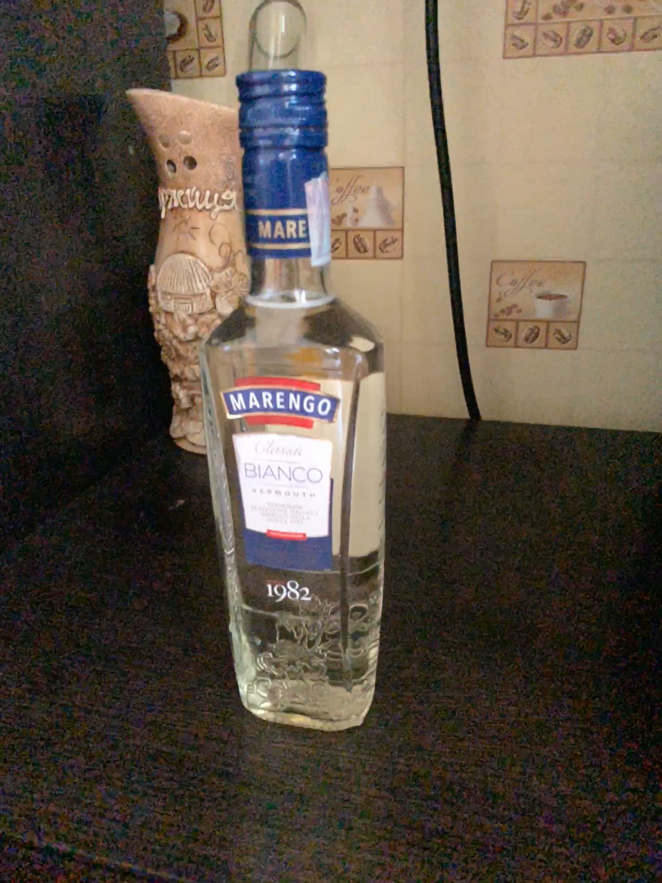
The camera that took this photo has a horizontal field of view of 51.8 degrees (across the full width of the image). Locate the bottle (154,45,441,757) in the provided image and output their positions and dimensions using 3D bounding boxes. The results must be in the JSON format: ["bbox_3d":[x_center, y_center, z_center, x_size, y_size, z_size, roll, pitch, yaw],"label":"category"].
[{"bbox_3d":[-0.006,0.000,0.295,0.090,0.289,0.050,5,23,14],"label":"bottle"}]
